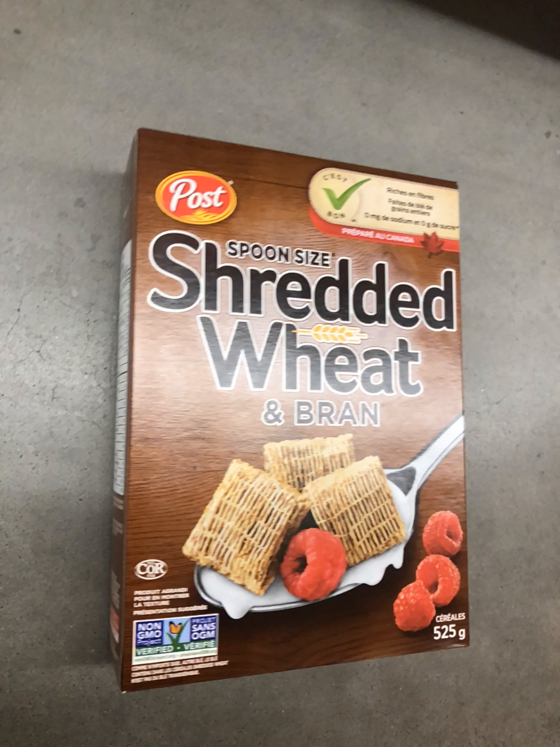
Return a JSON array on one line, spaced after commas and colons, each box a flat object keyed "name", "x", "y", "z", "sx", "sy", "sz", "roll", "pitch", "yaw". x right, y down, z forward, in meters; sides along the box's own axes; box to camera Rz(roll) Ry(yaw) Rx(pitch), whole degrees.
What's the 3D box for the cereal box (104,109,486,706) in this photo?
[{"name": "cereal box", "x": 0.009, "y": 0.016, "z": 0.357, "sx": 0.200, "sy": 0.070, "sz": 0.280, "roll": 2, "pitch": 84, "yaw": -20}]
